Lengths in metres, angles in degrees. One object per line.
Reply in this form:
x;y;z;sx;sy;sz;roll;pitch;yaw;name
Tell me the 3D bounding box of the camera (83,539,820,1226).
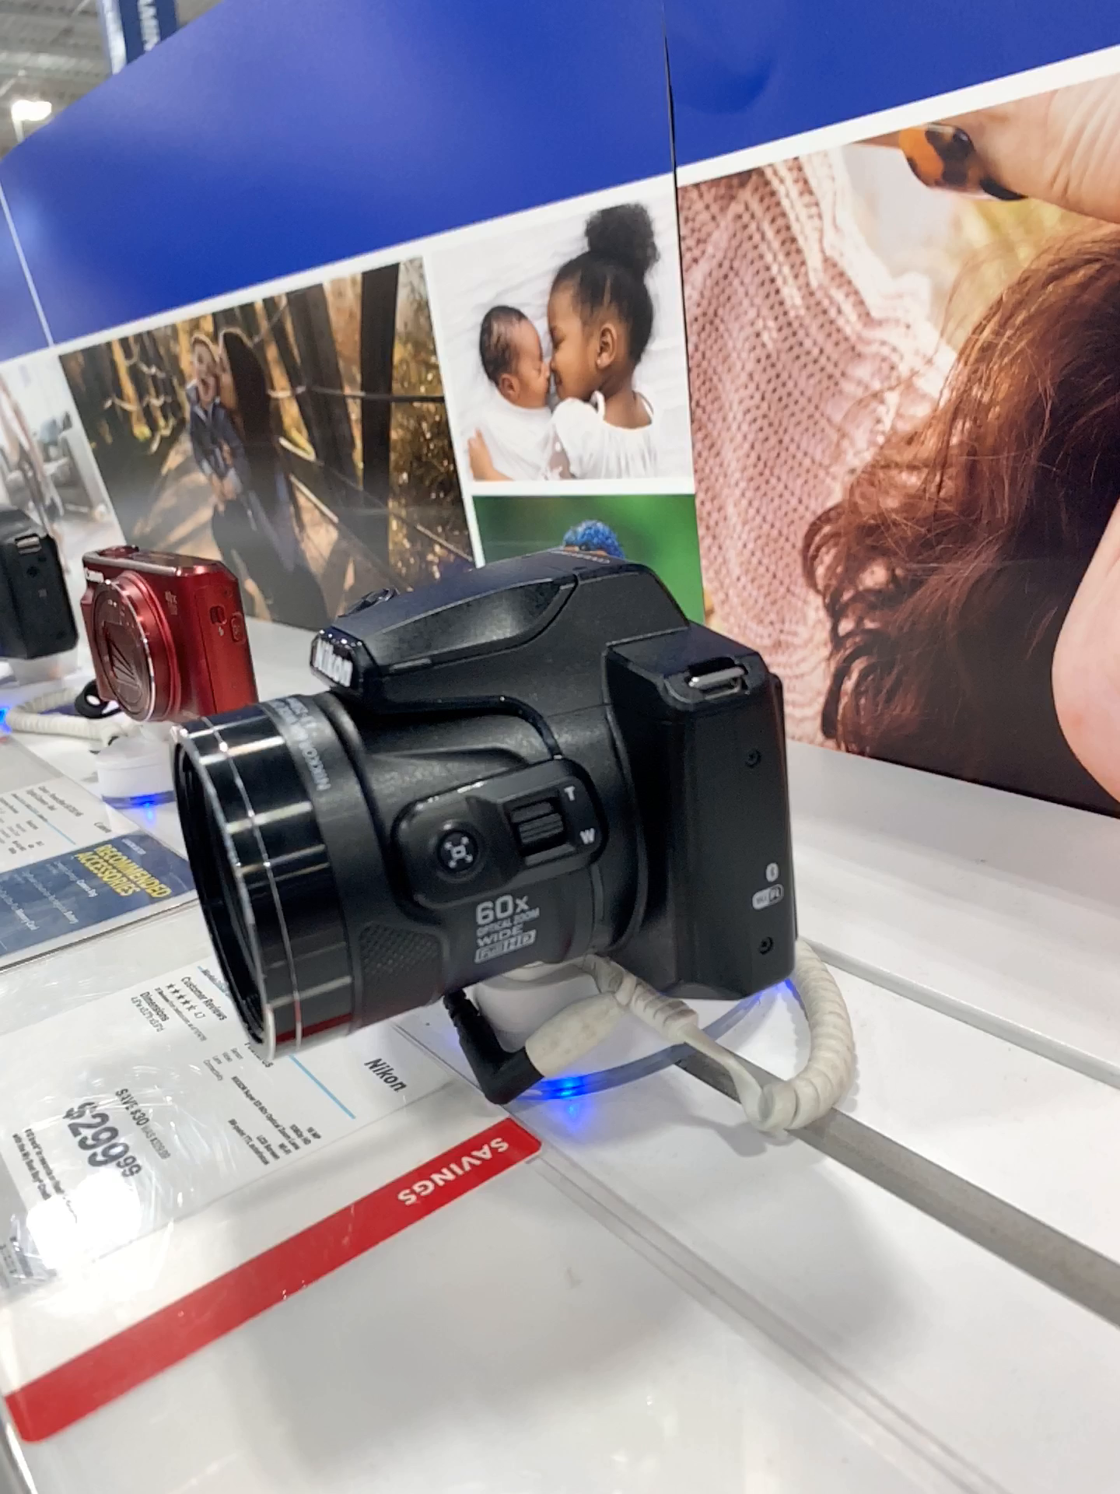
-0.027;0.009;0.235;0.100;0.080;0.120;-14;20;-28;camera
